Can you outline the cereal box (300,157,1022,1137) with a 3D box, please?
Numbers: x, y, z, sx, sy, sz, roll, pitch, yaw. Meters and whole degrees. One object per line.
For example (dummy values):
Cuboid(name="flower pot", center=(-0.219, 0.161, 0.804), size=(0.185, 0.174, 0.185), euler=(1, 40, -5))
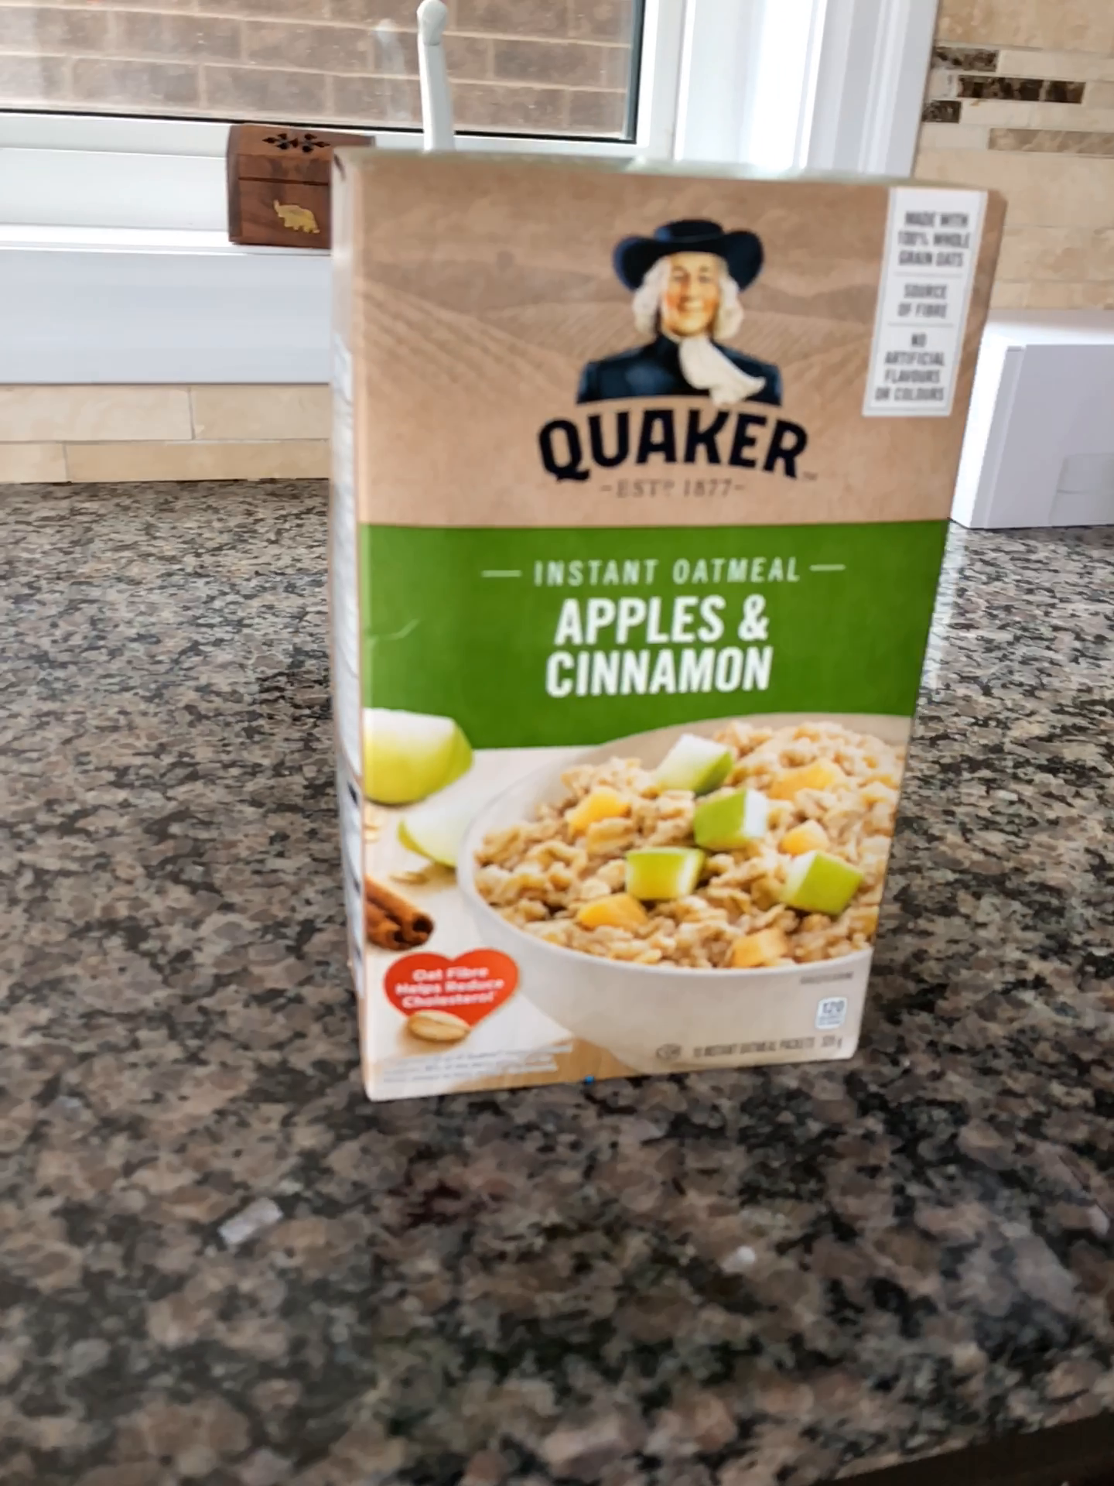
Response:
Cuboid(name="cereal box", center=(0.008, -0.022, 0.299), size=(0.130, 0.209, 0.090), euler=(-2, 27, -11))
